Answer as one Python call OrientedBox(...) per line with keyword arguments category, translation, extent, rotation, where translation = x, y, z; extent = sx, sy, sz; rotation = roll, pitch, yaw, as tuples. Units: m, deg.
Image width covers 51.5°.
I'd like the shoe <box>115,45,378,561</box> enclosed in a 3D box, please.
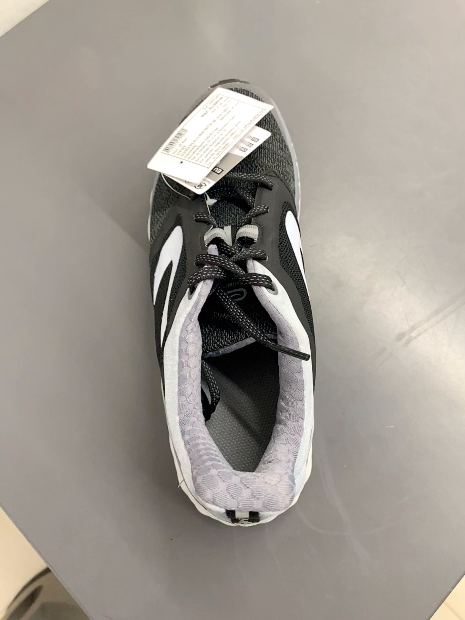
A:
OrientedBox(category="shoe", translation=(-0.002, -0.008, 0.265), extent=(0.100, 0.090, 0.240), rotation=(-5, 73, 1))
